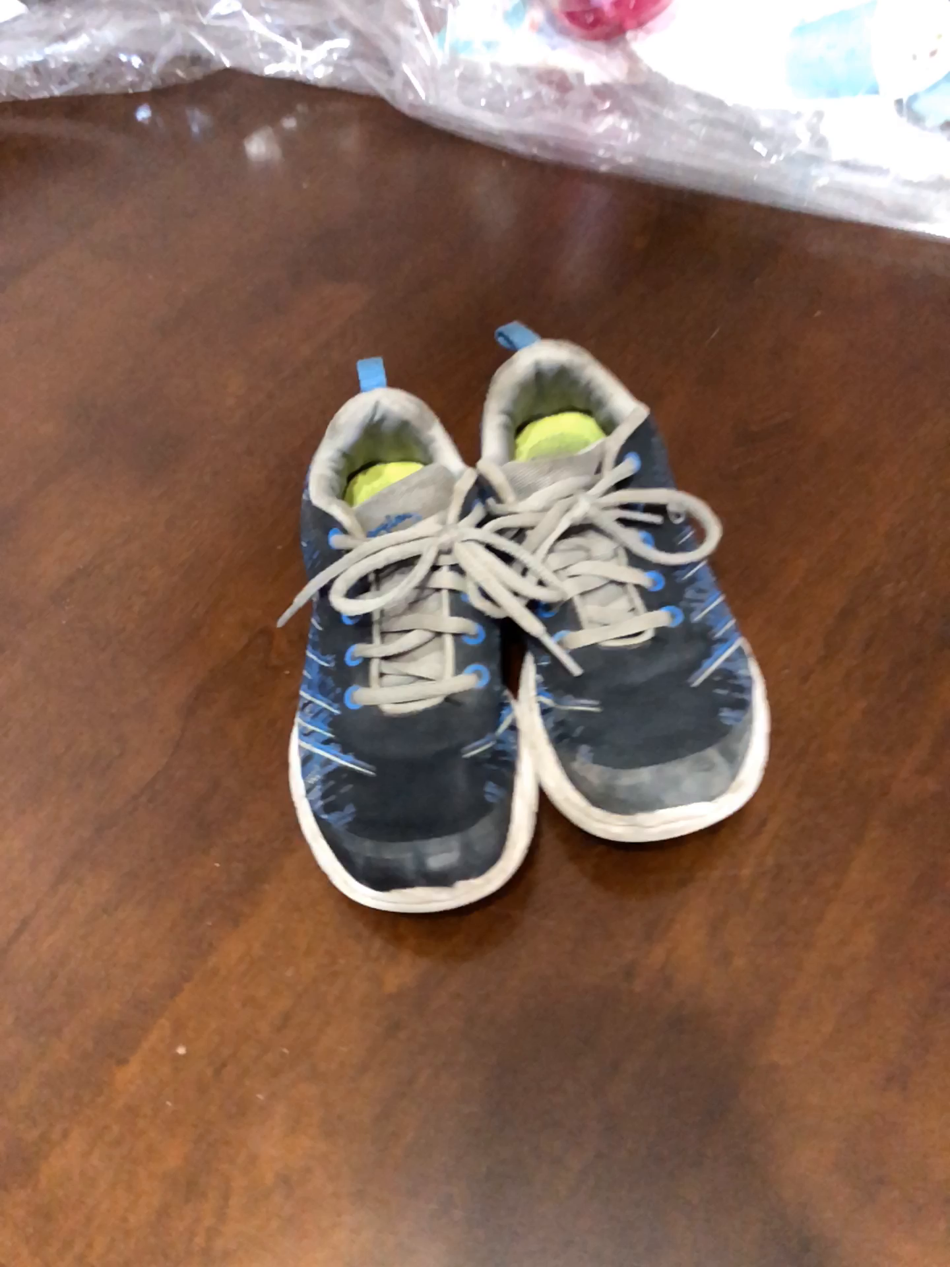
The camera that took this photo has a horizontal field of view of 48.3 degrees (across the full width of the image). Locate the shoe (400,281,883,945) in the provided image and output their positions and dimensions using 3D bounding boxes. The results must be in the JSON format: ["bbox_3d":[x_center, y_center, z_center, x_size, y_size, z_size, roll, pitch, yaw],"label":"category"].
[{"bbox_3d":[0.047,-0.018,0.405,0.100,0.090,0.231,-13,54,-3],"label":"shoe"}]

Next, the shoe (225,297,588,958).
[{"bbox_3d":[-0.028,-0.011,0.390,0.100,0.090,0.221,-9,54,0],"label":"shoe"}]
